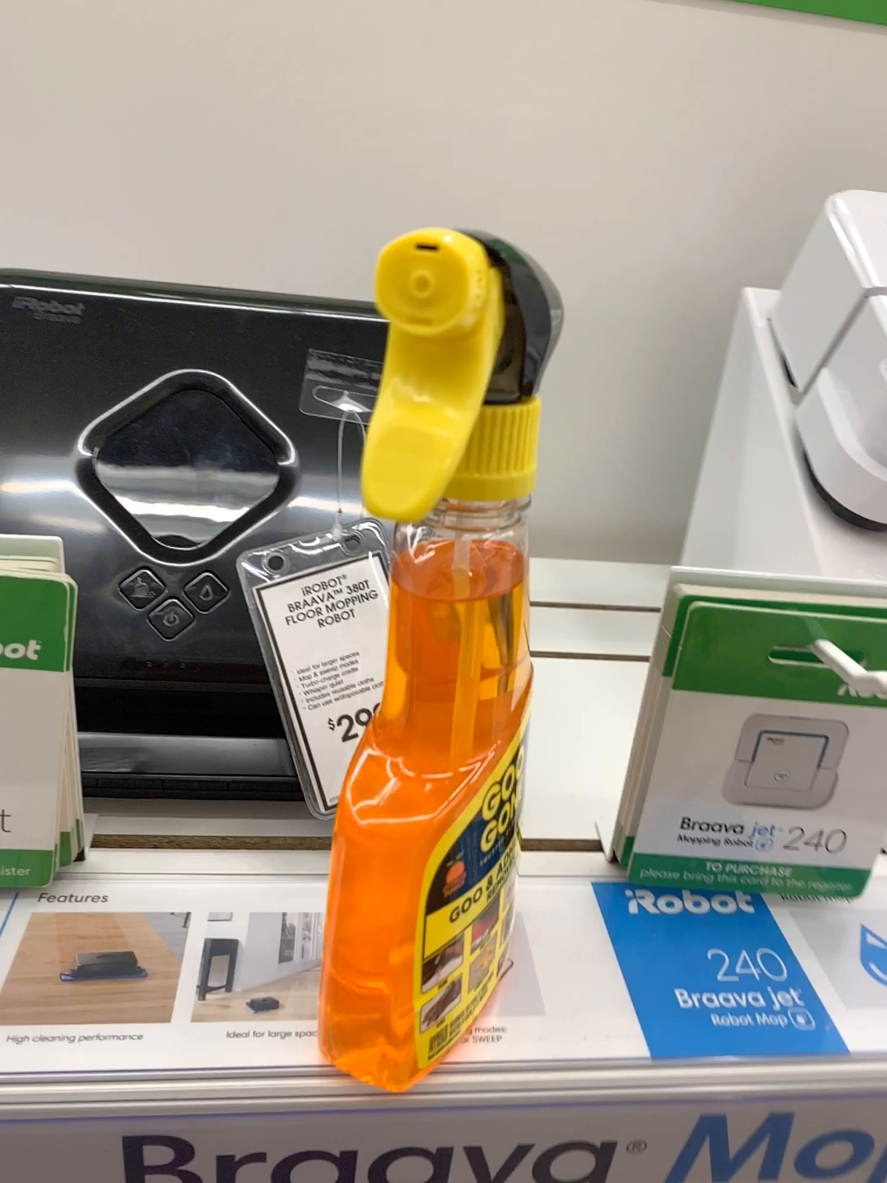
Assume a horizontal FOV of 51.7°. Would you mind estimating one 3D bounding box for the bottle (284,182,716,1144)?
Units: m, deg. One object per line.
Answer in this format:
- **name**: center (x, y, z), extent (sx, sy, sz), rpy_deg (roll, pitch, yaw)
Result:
- **bottle**: center (0.012, 0.019, 0.243), extent (0.050, 0.226, 0.100), rpy_deg (17, 26, 19)
